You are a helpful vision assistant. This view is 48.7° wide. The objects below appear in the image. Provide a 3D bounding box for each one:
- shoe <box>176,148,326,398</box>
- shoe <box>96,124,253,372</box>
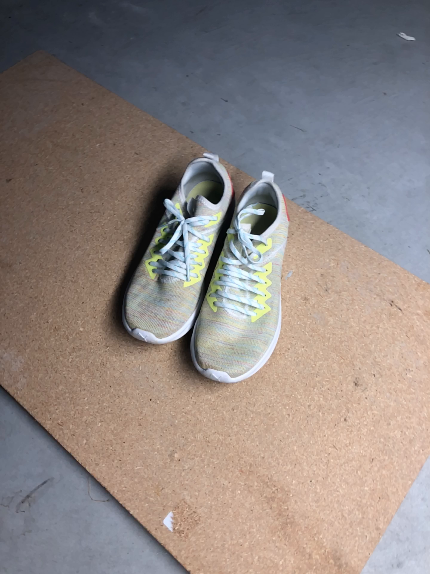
[{"bbox_3d":[0.049,-0.022,0.637,0.110,0.100,0.300,18,68,2],"label":"shoe"},{"bbox_3d":[-0.045,-0.054,0.631,0.100,0.100,0.300,18,68,2],"label":"shoe"}]
